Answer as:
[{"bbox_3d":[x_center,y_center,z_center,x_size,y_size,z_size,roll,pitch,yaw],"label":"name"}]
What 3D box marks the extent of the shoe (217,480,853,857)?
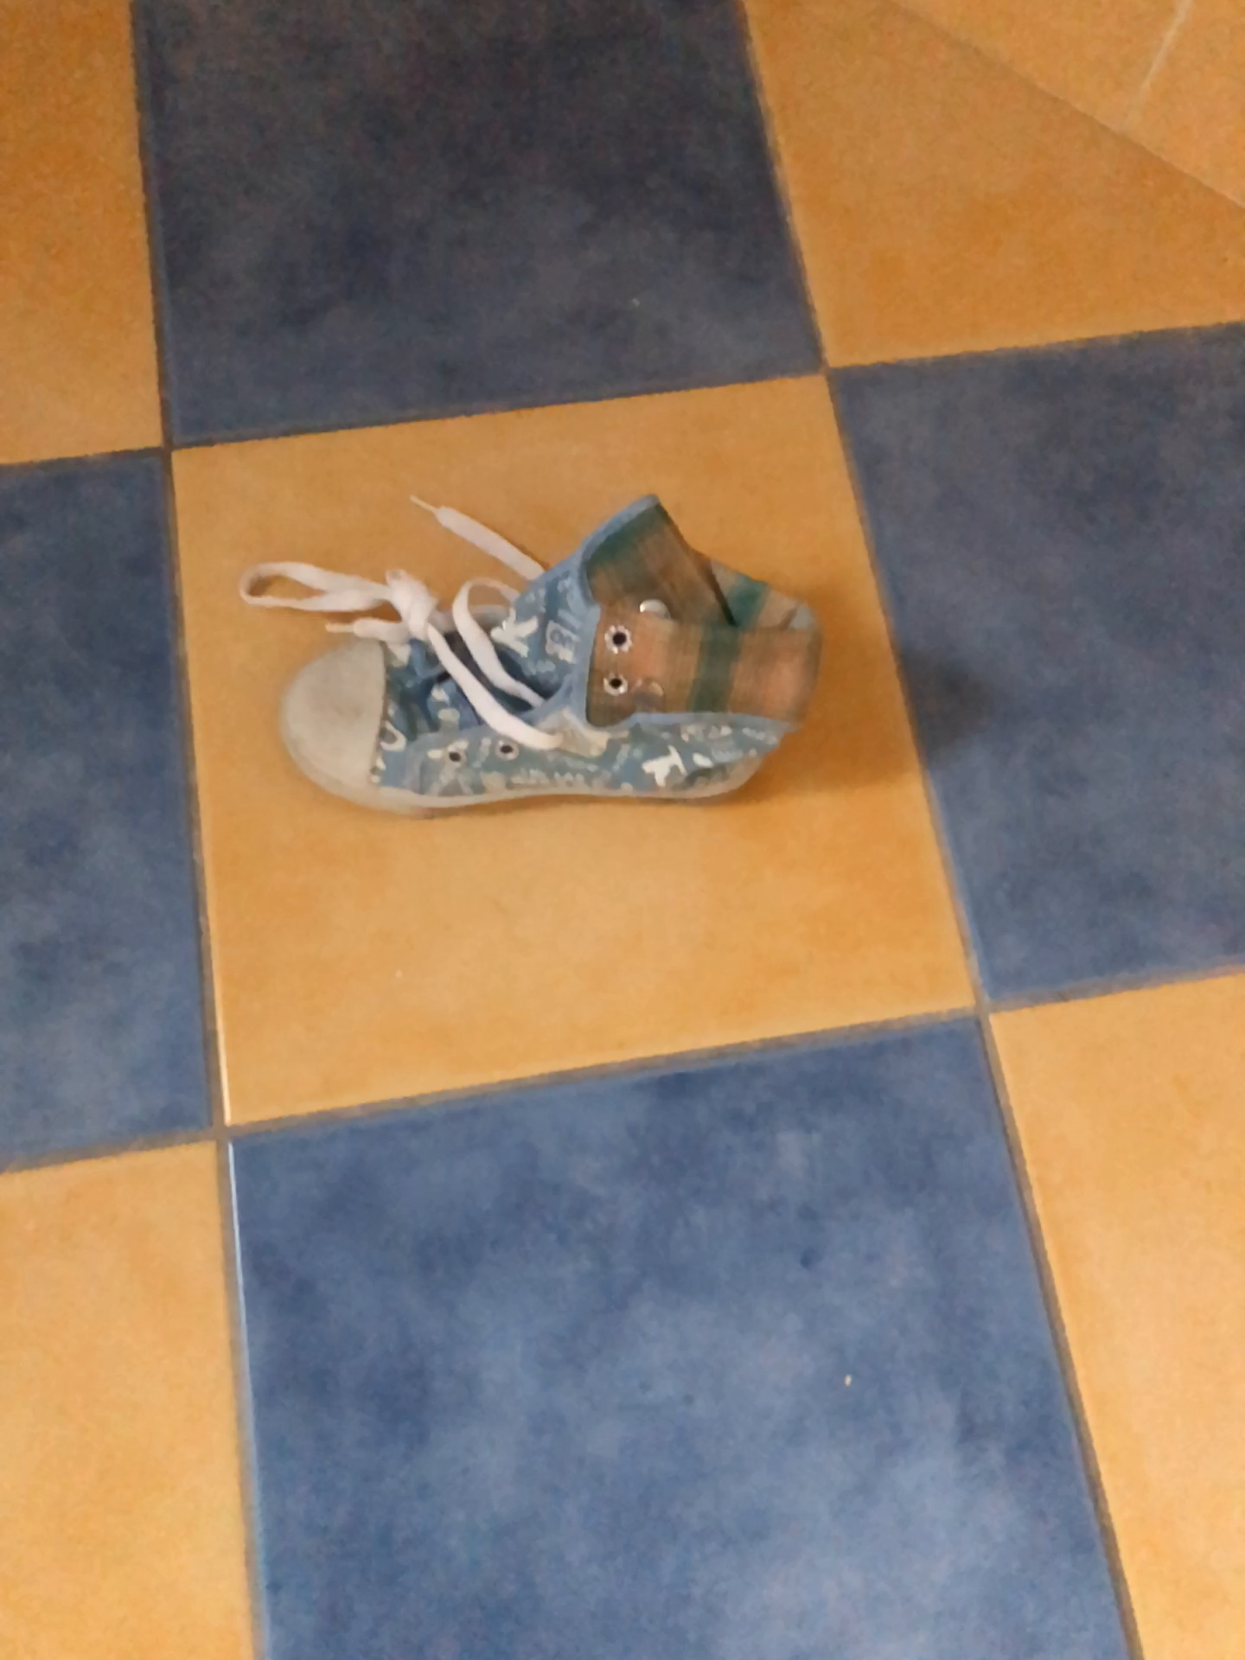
[{"bbox_3d":[-0.032,-0.054,0.500,0.200,0.120,0.080,-5,72,-4],"label":"shoe"}]
